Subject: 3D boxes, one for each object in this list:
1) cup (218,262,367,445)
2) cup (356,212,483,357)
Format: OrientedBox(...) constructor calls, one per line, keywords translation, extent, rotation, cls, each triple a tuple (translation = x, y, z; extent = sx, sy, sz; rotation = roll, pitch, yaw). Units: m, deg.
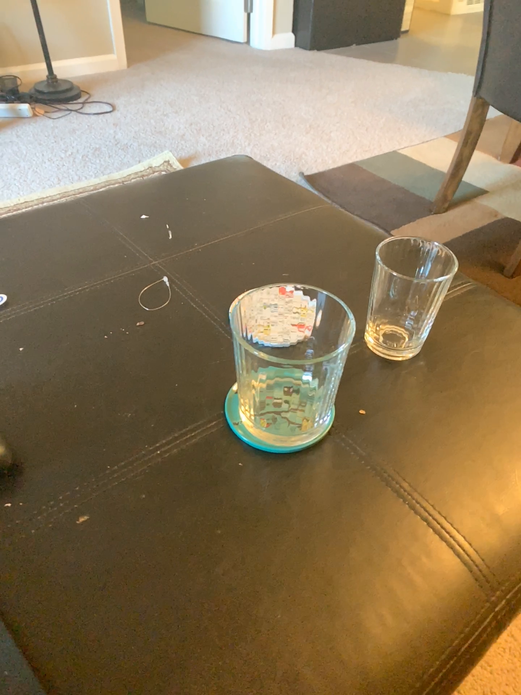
OrientedBox(translation=(0.016, 0.003, 0.376), extent=(0.080, 0.089, 0.080), rotation=(1, 41, -1), cls="cup")
OrientedBox(translation=(0.125, -0.052, 0.440), extent=(0.060, 0.089, 0.070), rotation=(-7, 42, -9), cls="cup")
